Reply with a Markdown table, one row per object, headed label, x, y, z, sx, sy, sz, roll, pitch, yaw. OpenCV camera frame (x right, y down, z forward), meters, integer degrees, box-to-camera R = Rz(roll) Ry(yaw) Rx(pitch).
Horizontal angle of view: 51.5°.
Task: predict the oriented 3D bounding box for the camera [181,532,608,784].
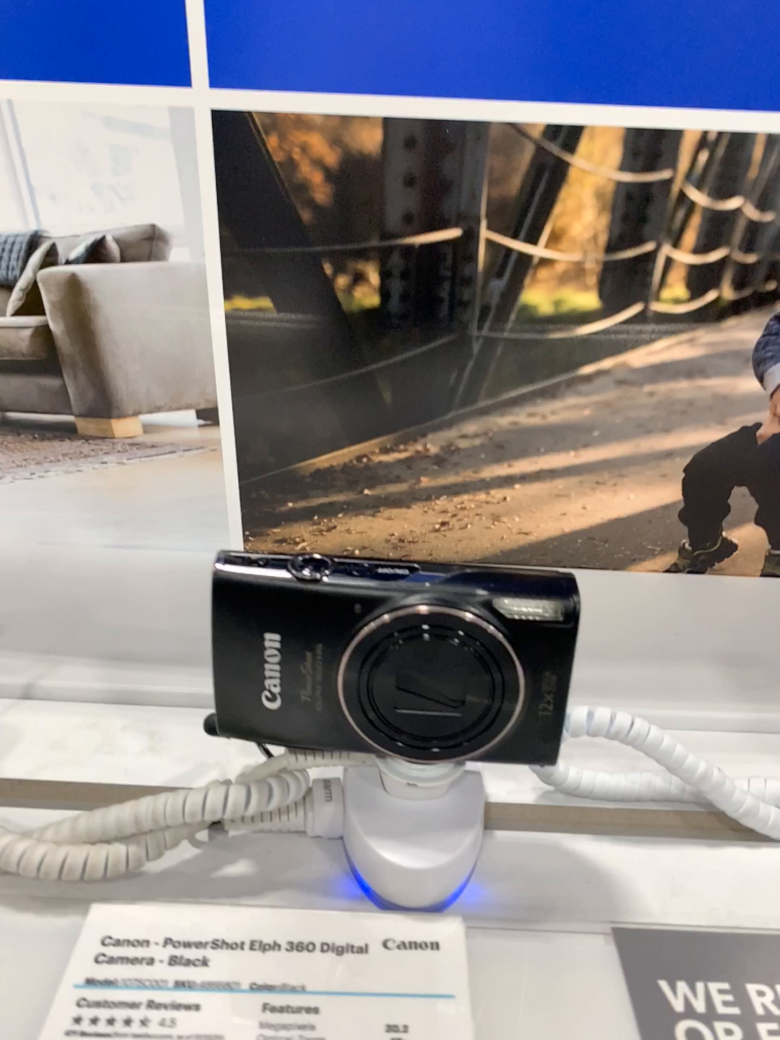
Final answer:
| label | x | y | z | sx | sy | sz | roll | pitch | yaw |
| --- | --- | --- | --- | --- | --- | --- | --- | --- | --- |
| camera | 0.000 | 0.038 | 0.223 | 0.106 | 0.055 | 0.027 | 4 | 22 | 0 |
